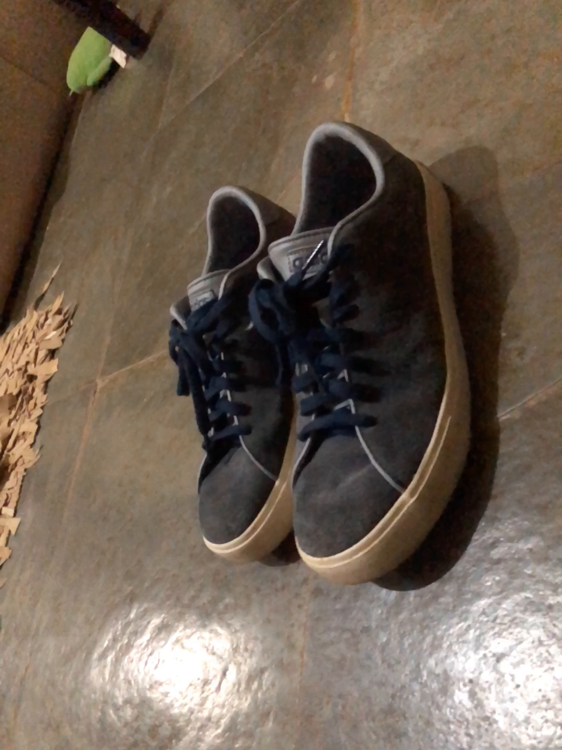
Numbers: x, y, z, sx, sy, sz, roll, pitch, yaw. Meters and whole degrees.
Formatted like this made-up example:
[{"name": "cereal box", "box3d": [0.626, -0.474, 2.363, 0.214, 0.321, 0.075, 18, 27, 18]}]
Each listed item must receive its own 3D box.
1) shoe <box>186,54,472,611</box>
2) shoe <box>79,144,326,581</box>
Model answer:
[{"name": "shoe", "box3d": [0.036, -0.024, 0.353, 0.110, 0.080, 0.281, -16, 58, 46]}, {"name": "shoe", "box3d": [-0.046, -0.006, 0.425, 0.110, 0.080, 0.271, -19, 56, 45]}]
